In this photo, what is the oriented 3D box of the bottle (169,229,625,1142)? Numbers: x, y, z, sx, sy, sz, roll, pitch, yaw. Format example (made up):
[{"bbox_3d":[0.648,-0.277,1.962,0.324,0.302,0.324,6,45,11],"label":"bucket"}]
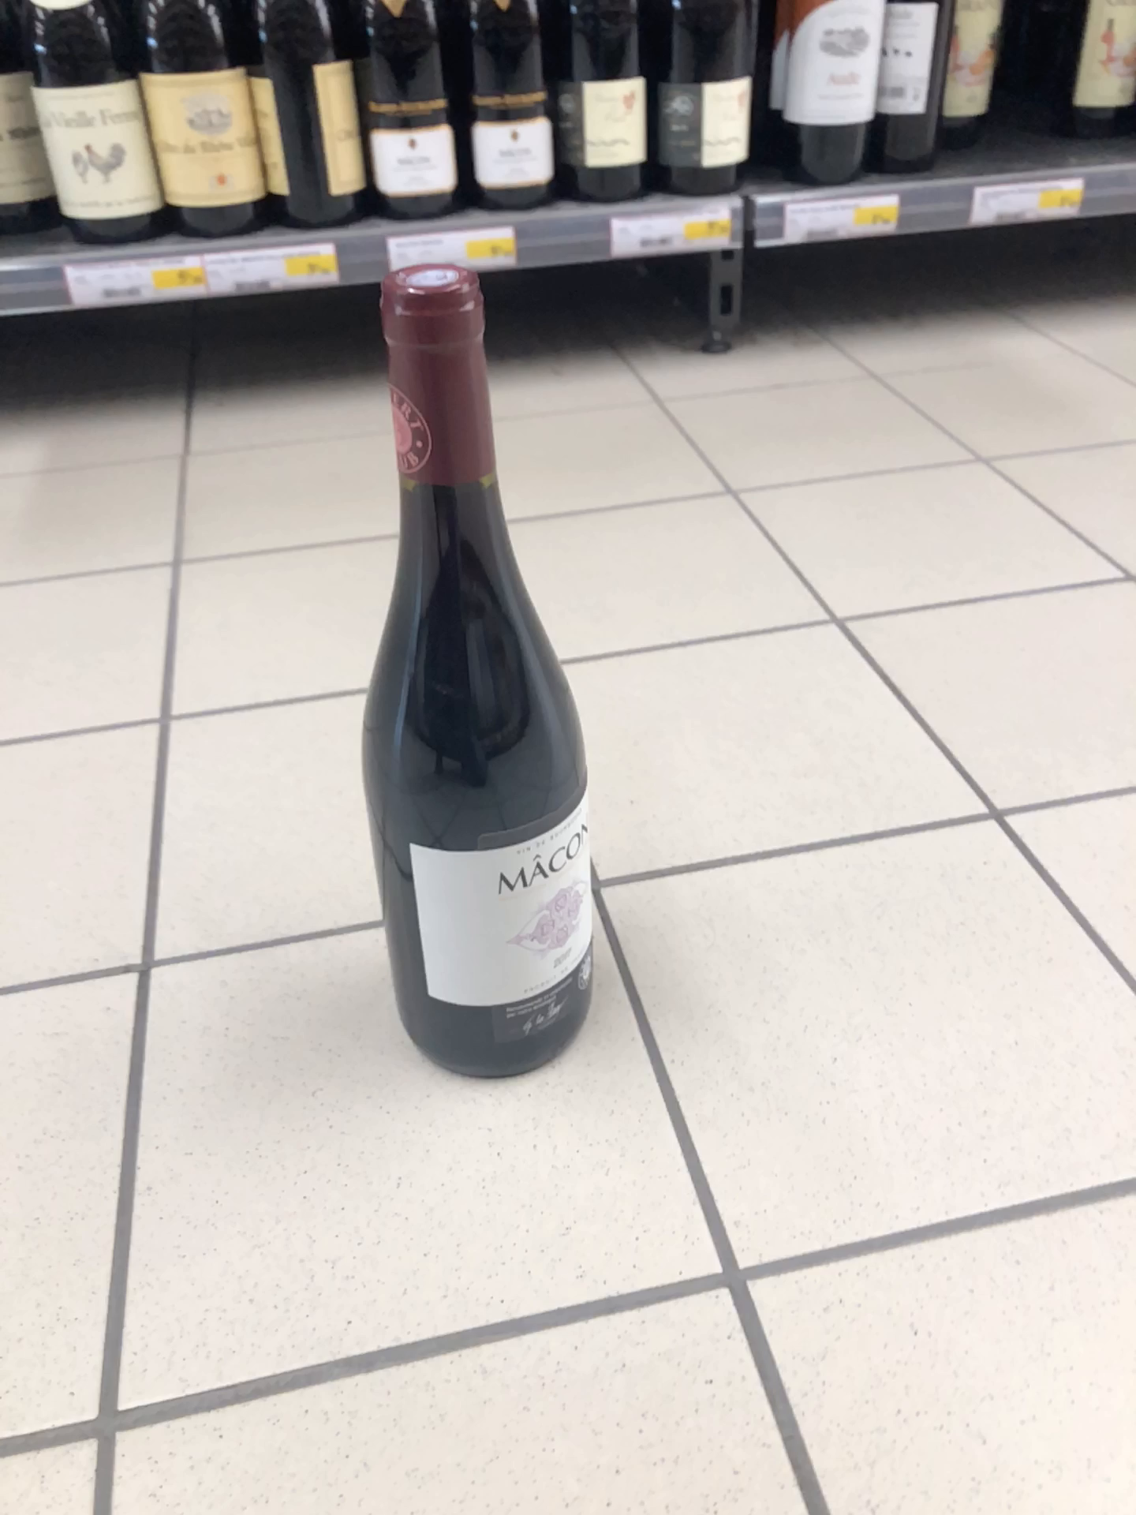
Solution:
[{"bbox_3d":[-0.045,-0.015,0.432,0.090,0.288,0.090,-2,34,1],"label":"bottle"}]
